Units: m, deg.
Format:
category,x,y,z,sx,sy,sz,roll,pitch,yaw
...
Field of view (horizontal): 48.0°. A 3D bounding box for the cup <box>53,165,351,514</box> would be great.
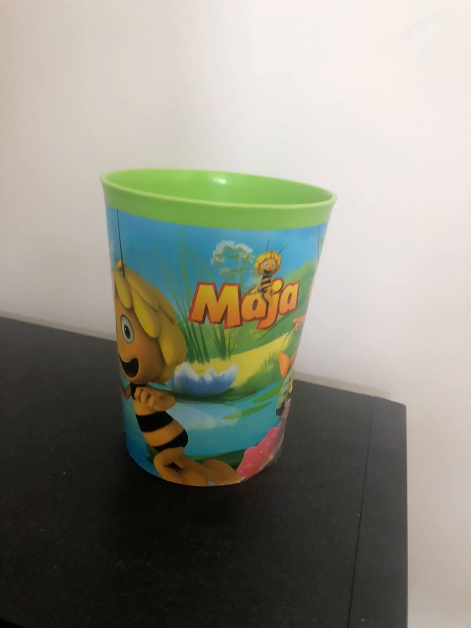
category,x,y,z,sx,sy,sz,roll,pitch,yaw
cup,-0.006,0.000,0.190,0.080,0.090,0.080,5,20,-2
